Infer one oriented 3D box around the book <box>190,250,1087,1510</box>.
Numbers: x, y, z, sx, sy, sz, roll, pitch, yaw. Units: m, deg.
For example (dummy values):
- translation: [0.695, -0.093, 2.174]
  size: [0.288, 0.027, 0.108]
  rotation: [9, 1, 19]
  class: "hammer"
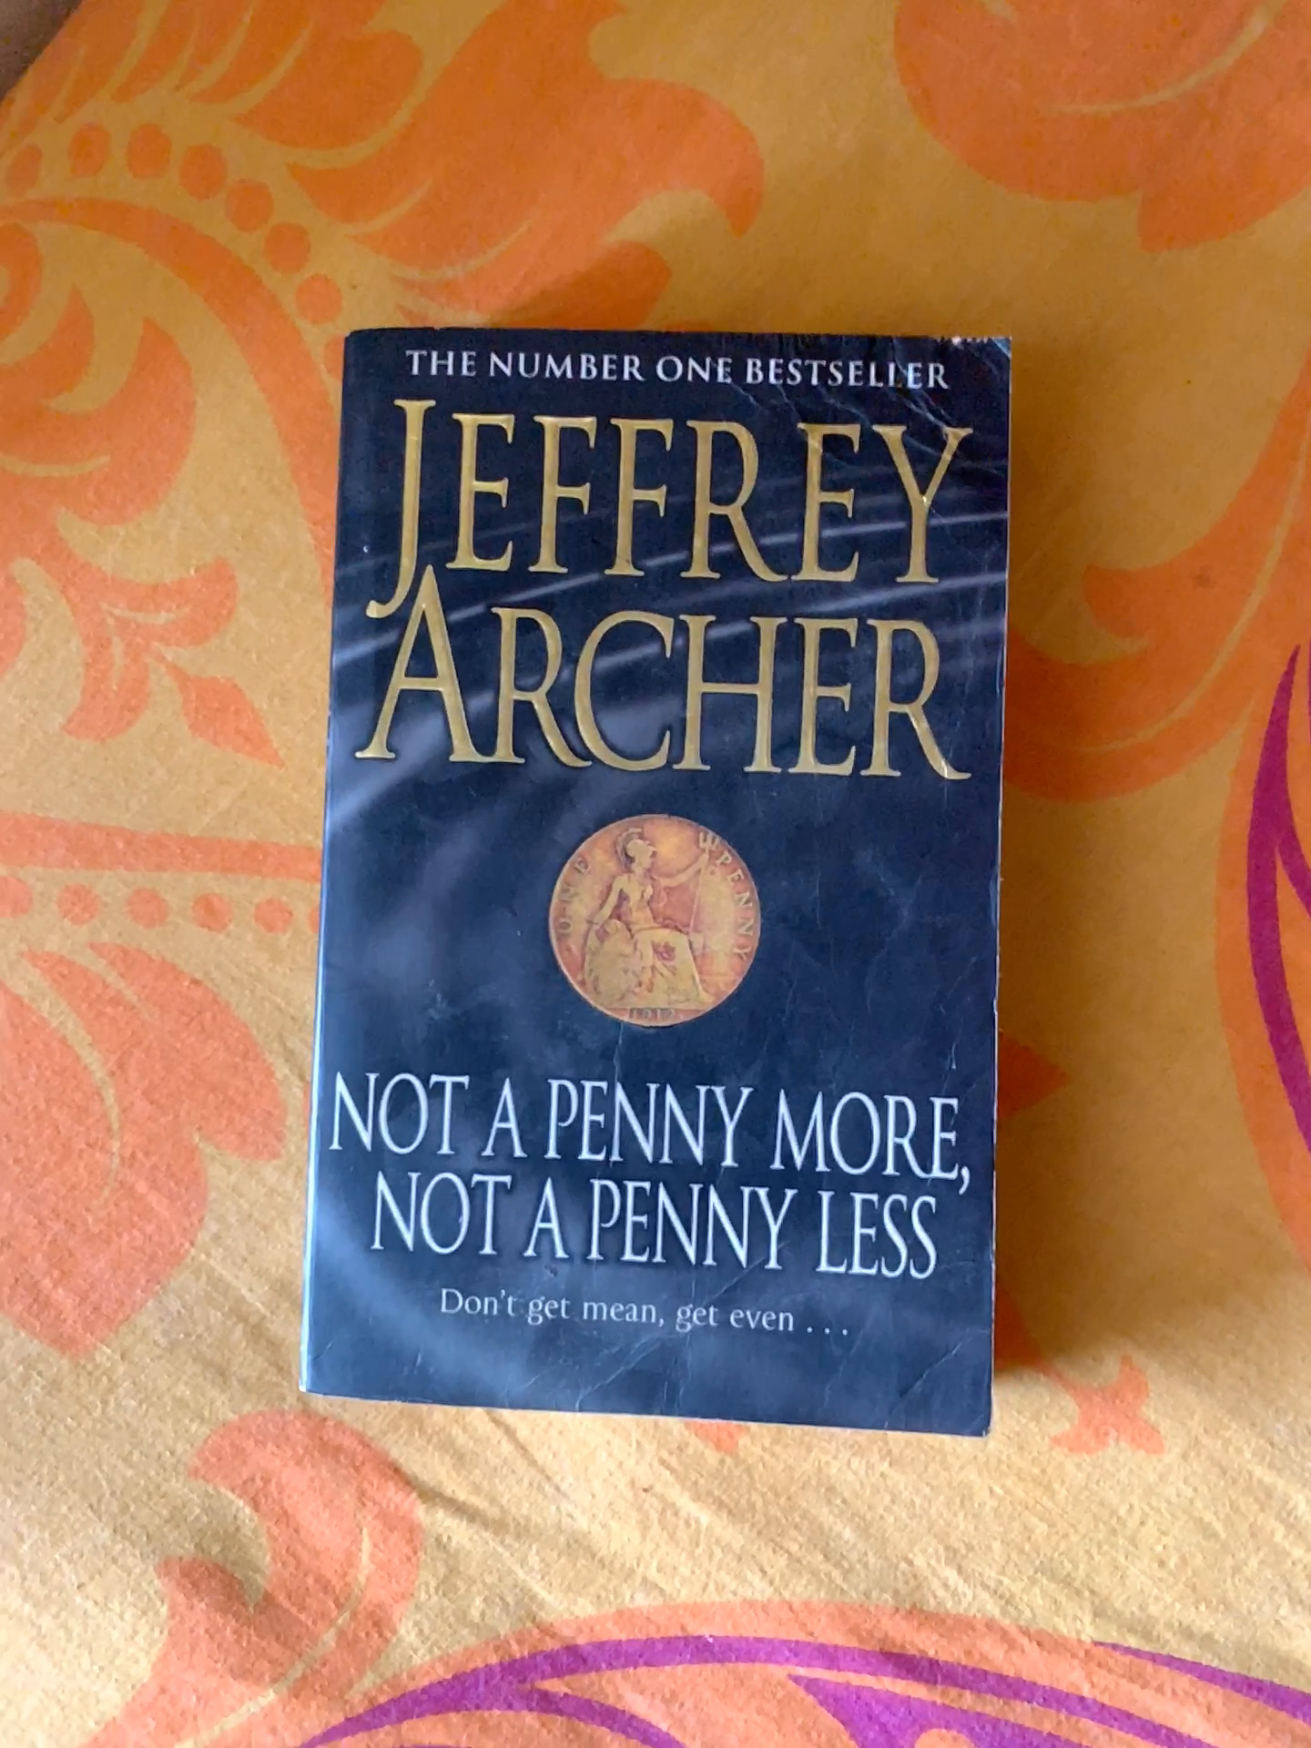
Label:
- translation: [0.000, -0.002, 0.192]
  size: [0.110, 0.030, 0.160]
  rotation: [2, 85, 3]
  class: "book"
